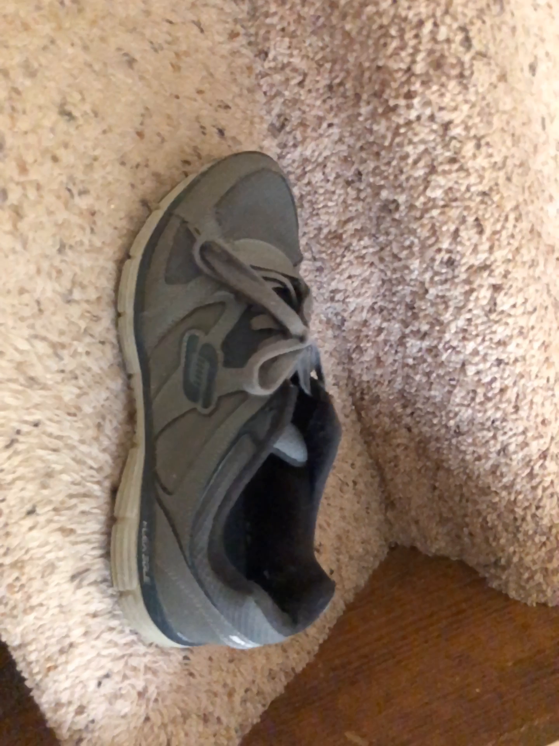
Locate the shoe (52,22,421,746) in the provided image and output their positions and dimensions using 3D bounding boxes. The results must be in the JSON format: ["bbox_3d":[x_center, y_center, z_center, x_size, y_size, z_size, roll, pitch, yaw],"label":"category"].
[{"bbox_3d":[-0.020,0.007,0.337,0.111,0.139,0.300,12,80,-45],"label":"shoe"}]
